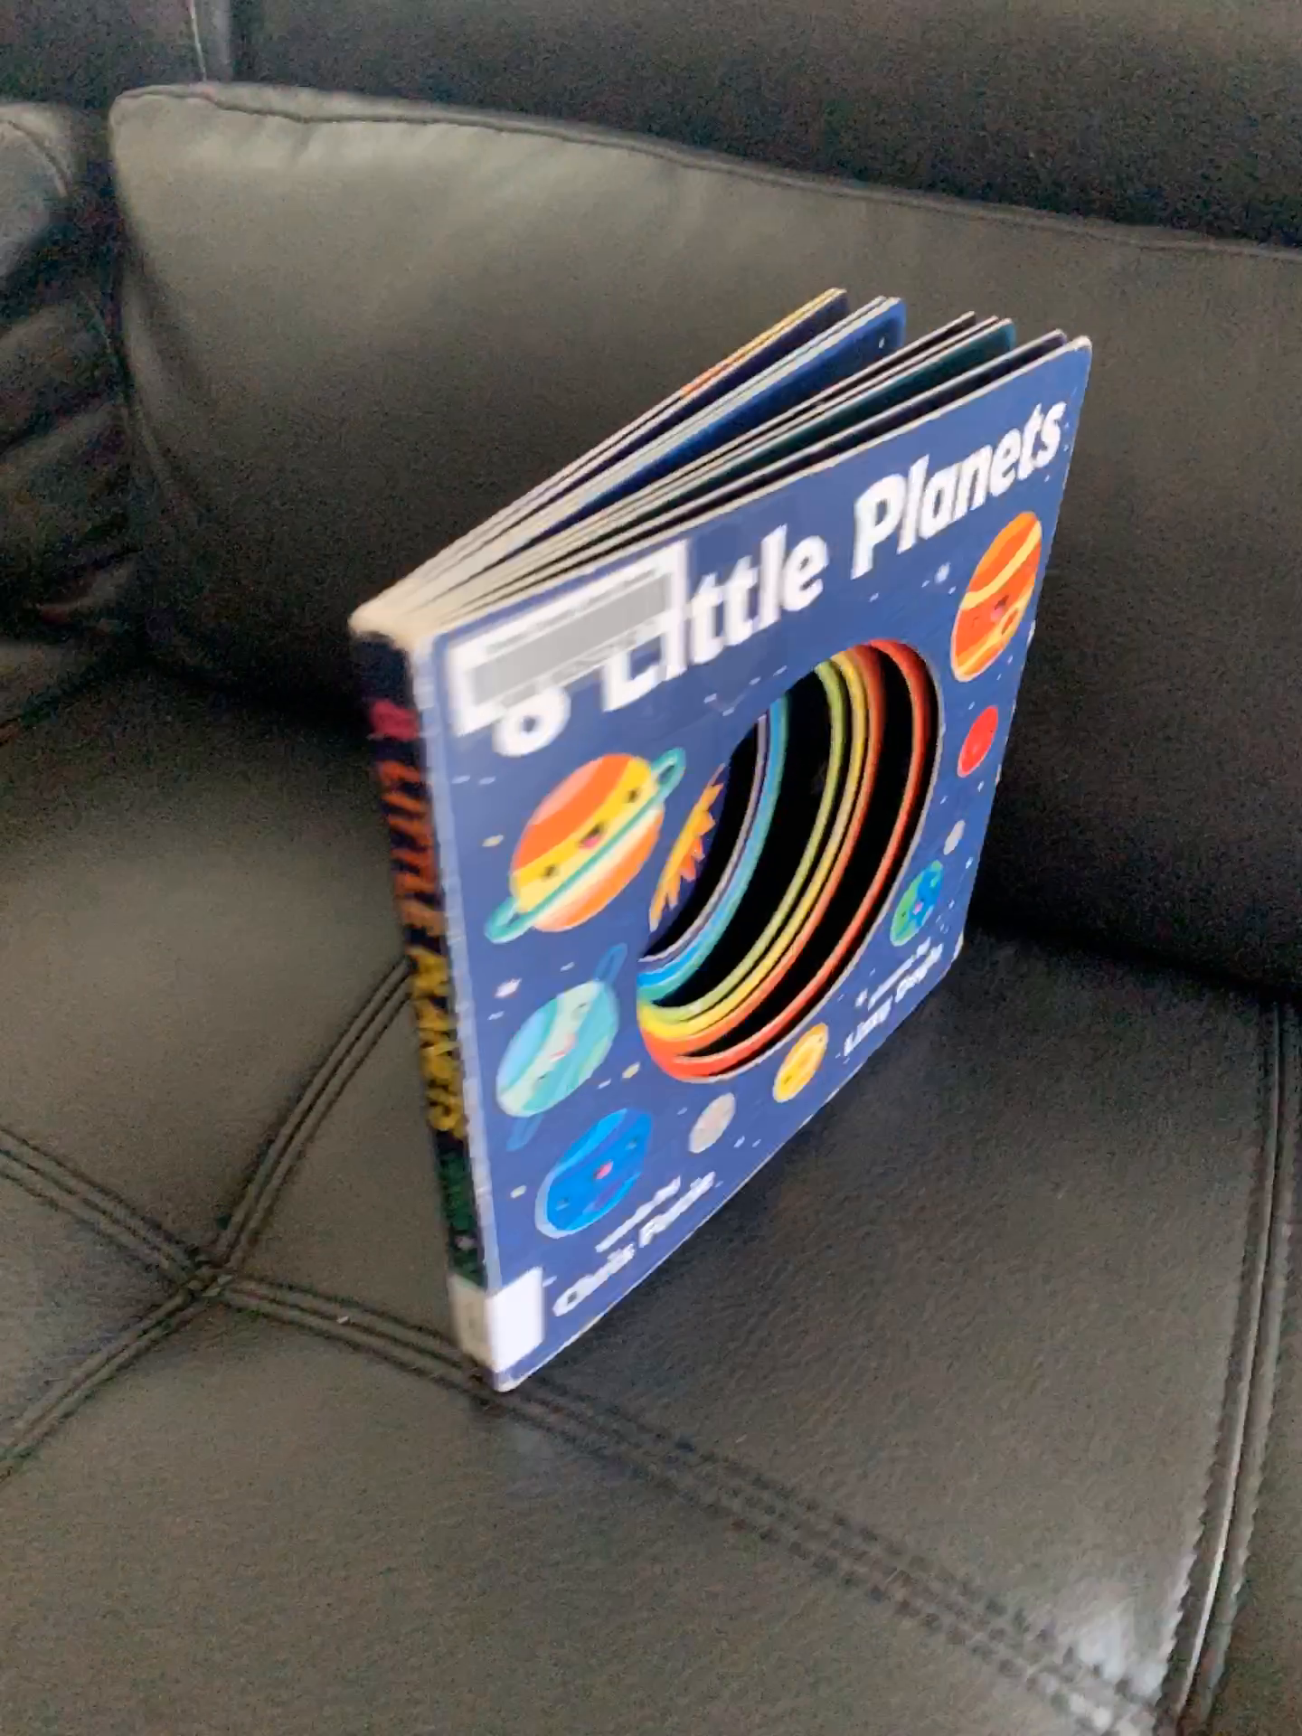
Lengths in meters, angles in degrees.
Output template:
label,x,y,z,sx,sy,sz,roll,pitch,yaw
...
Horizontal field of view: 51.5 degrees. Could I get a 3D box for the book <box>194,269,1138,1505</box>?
label,x,y,z,sx,sy,sz,roll,pitch,yaw
book,0.021,-0.006,0.328,0.079,0.211,0.209,23,43,28
